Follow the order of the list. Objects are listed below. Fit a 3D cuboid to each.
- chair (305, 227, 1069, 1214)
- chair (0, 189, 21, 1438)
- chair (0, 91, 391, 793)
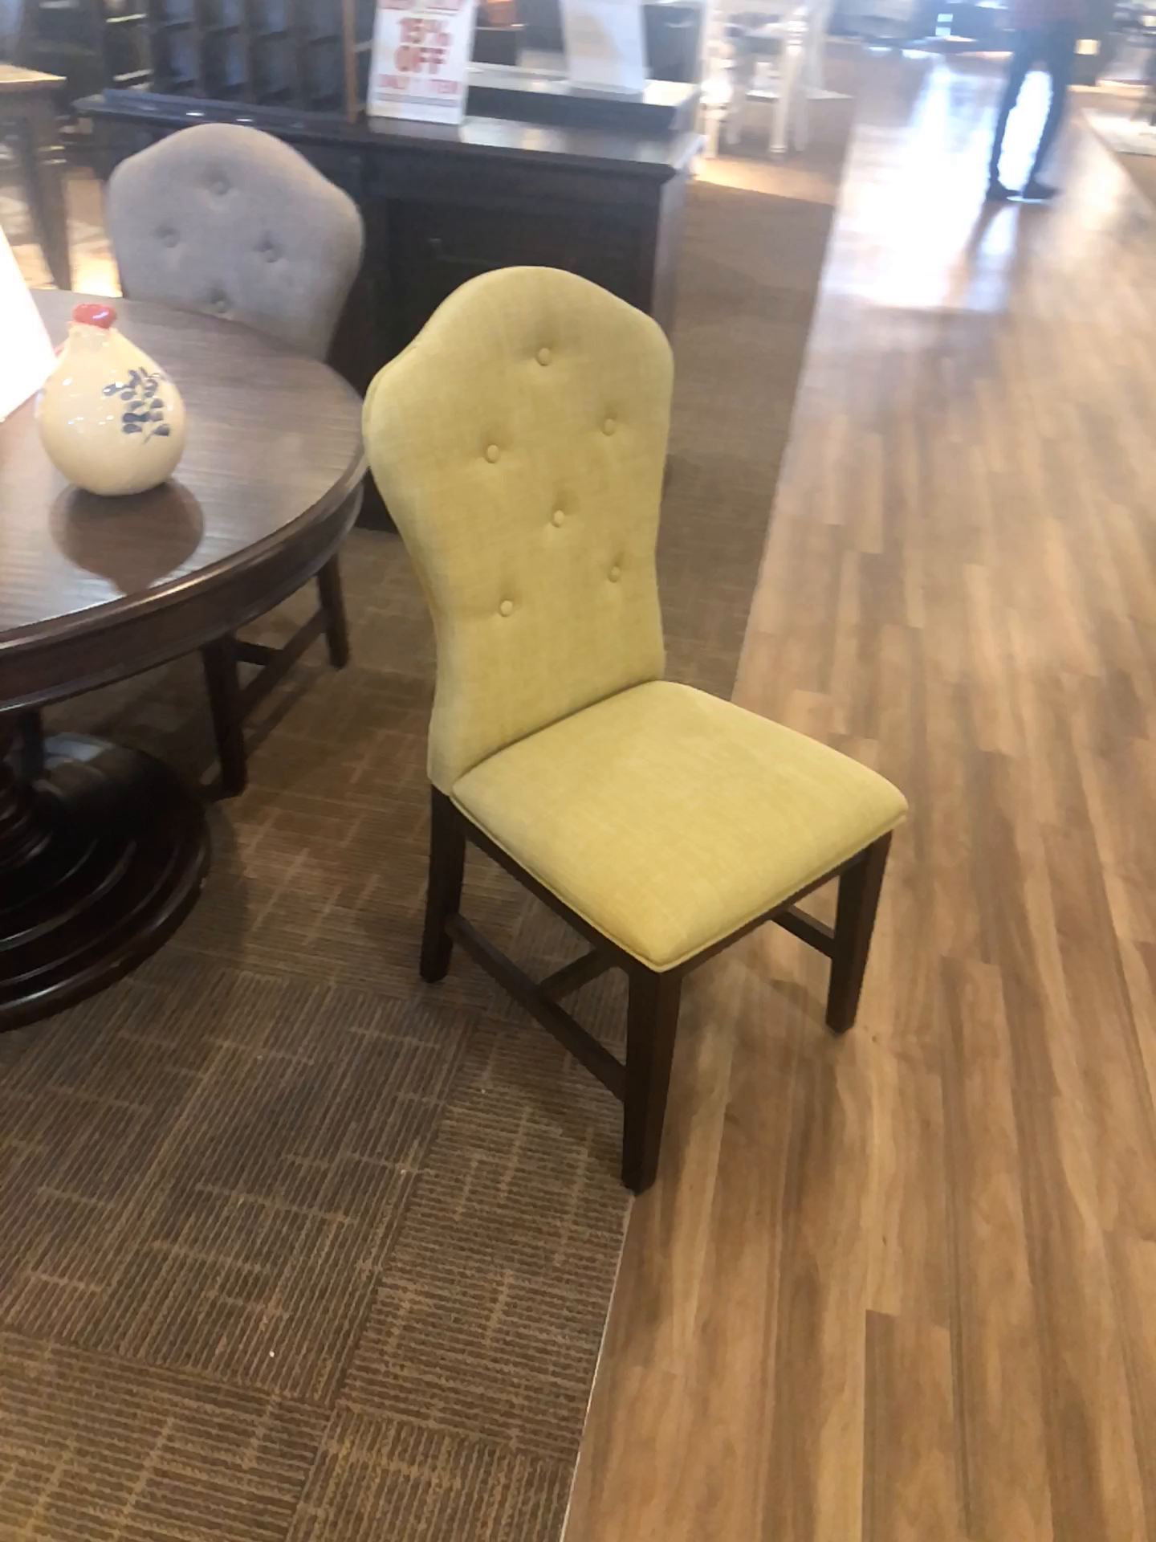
[{"bbox_3d":[0.082,-0.085,1.629,0.540,0.979,0.616,-27,46,-37],"label":"chair"},{"bbox_3d":[-1.042,0.036,1.228,0.518,0.959,0.578,14,36,13],"label":"chair"},{"bbox_3d":[-0.694,-0.577,2.183,0.508,0.949,0.638,12,36,11],"label":"chair"}]
